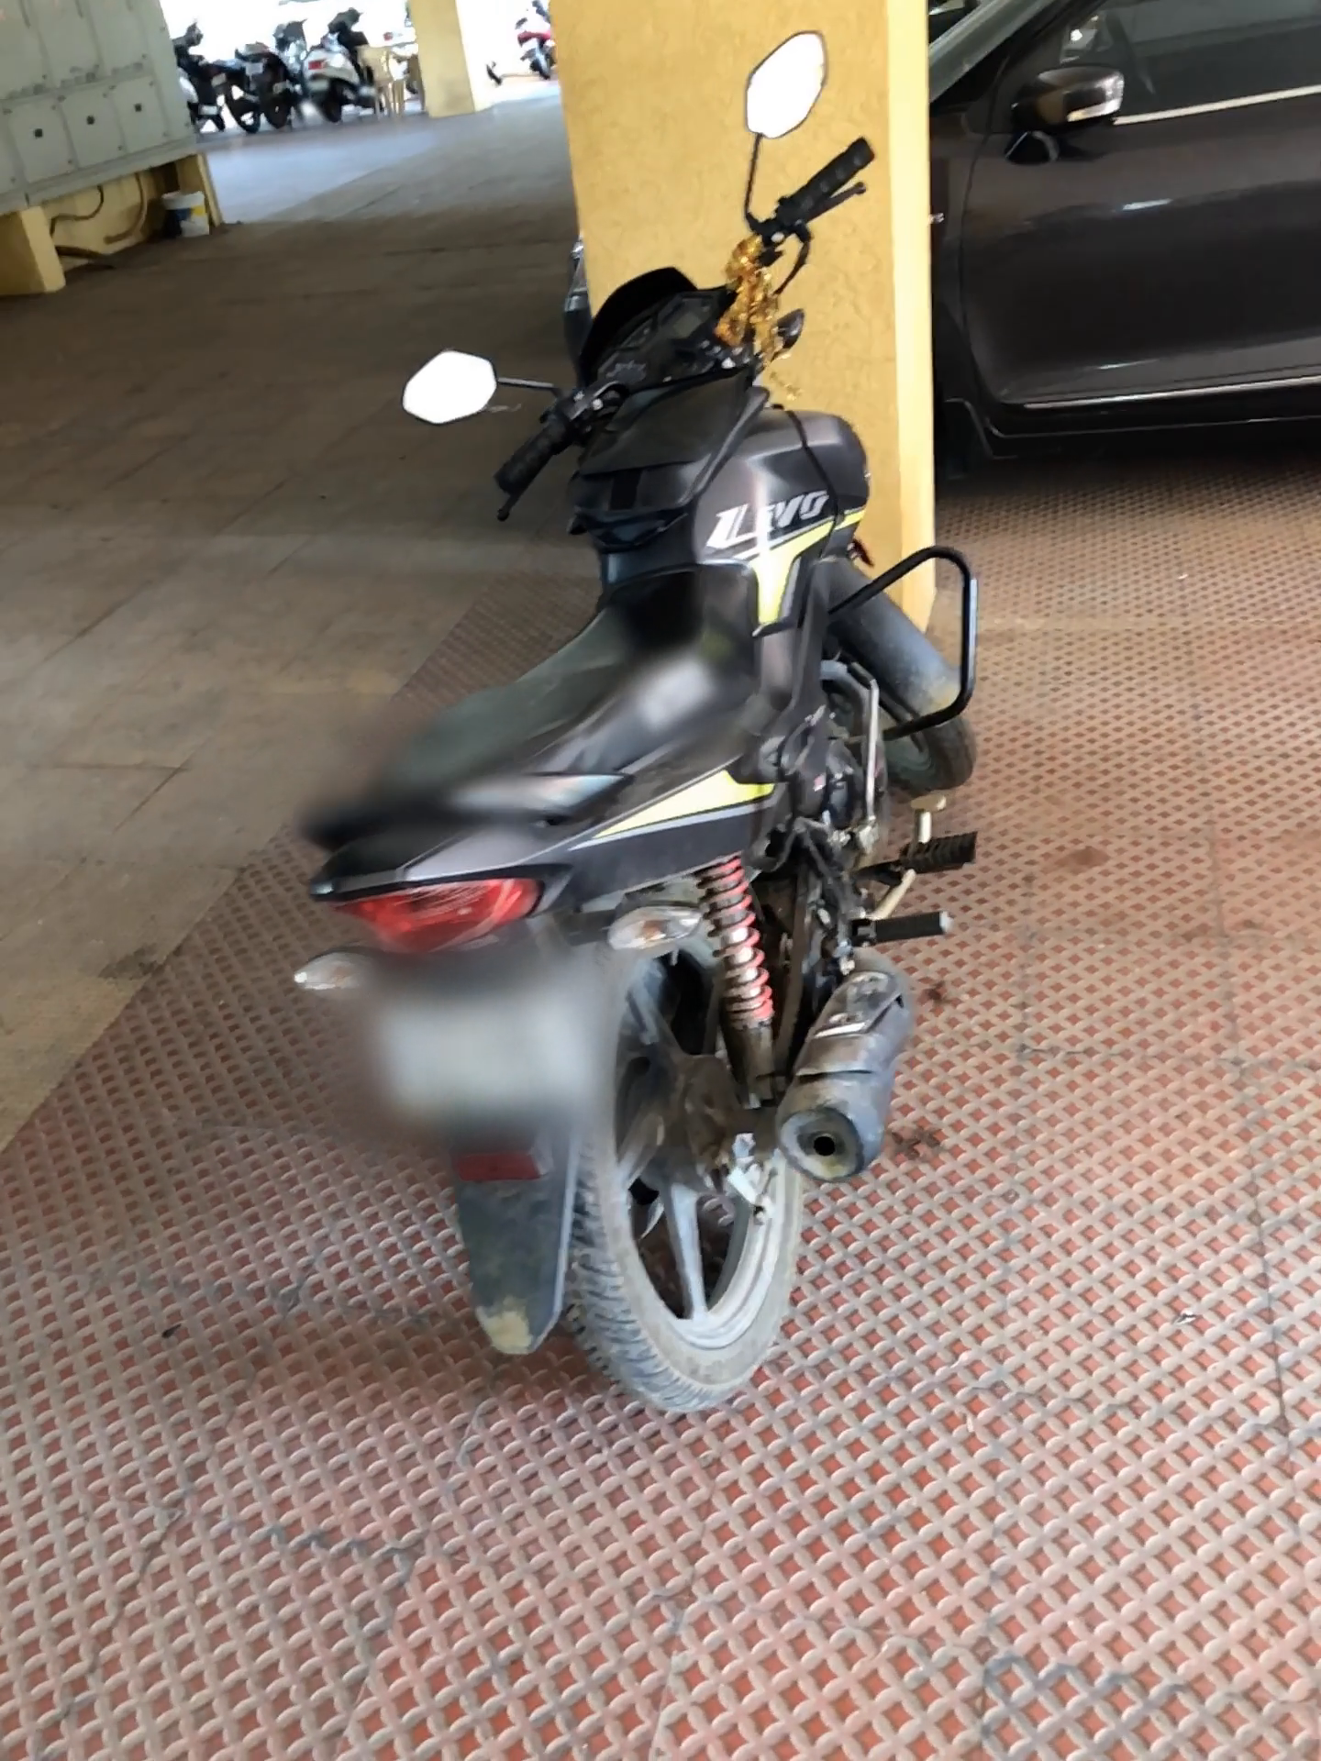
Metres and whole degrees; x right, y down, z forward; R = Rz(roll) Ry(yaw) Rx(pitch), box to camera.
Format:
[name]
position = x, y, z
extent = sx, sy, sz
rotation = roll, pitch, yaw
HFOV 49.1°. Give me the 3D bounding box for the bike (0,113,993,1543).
[bike]
position = 0.006, -0.246, 1.893
extent = 0.716, 1.088, 1.629
rotation = 2, 34, 16
